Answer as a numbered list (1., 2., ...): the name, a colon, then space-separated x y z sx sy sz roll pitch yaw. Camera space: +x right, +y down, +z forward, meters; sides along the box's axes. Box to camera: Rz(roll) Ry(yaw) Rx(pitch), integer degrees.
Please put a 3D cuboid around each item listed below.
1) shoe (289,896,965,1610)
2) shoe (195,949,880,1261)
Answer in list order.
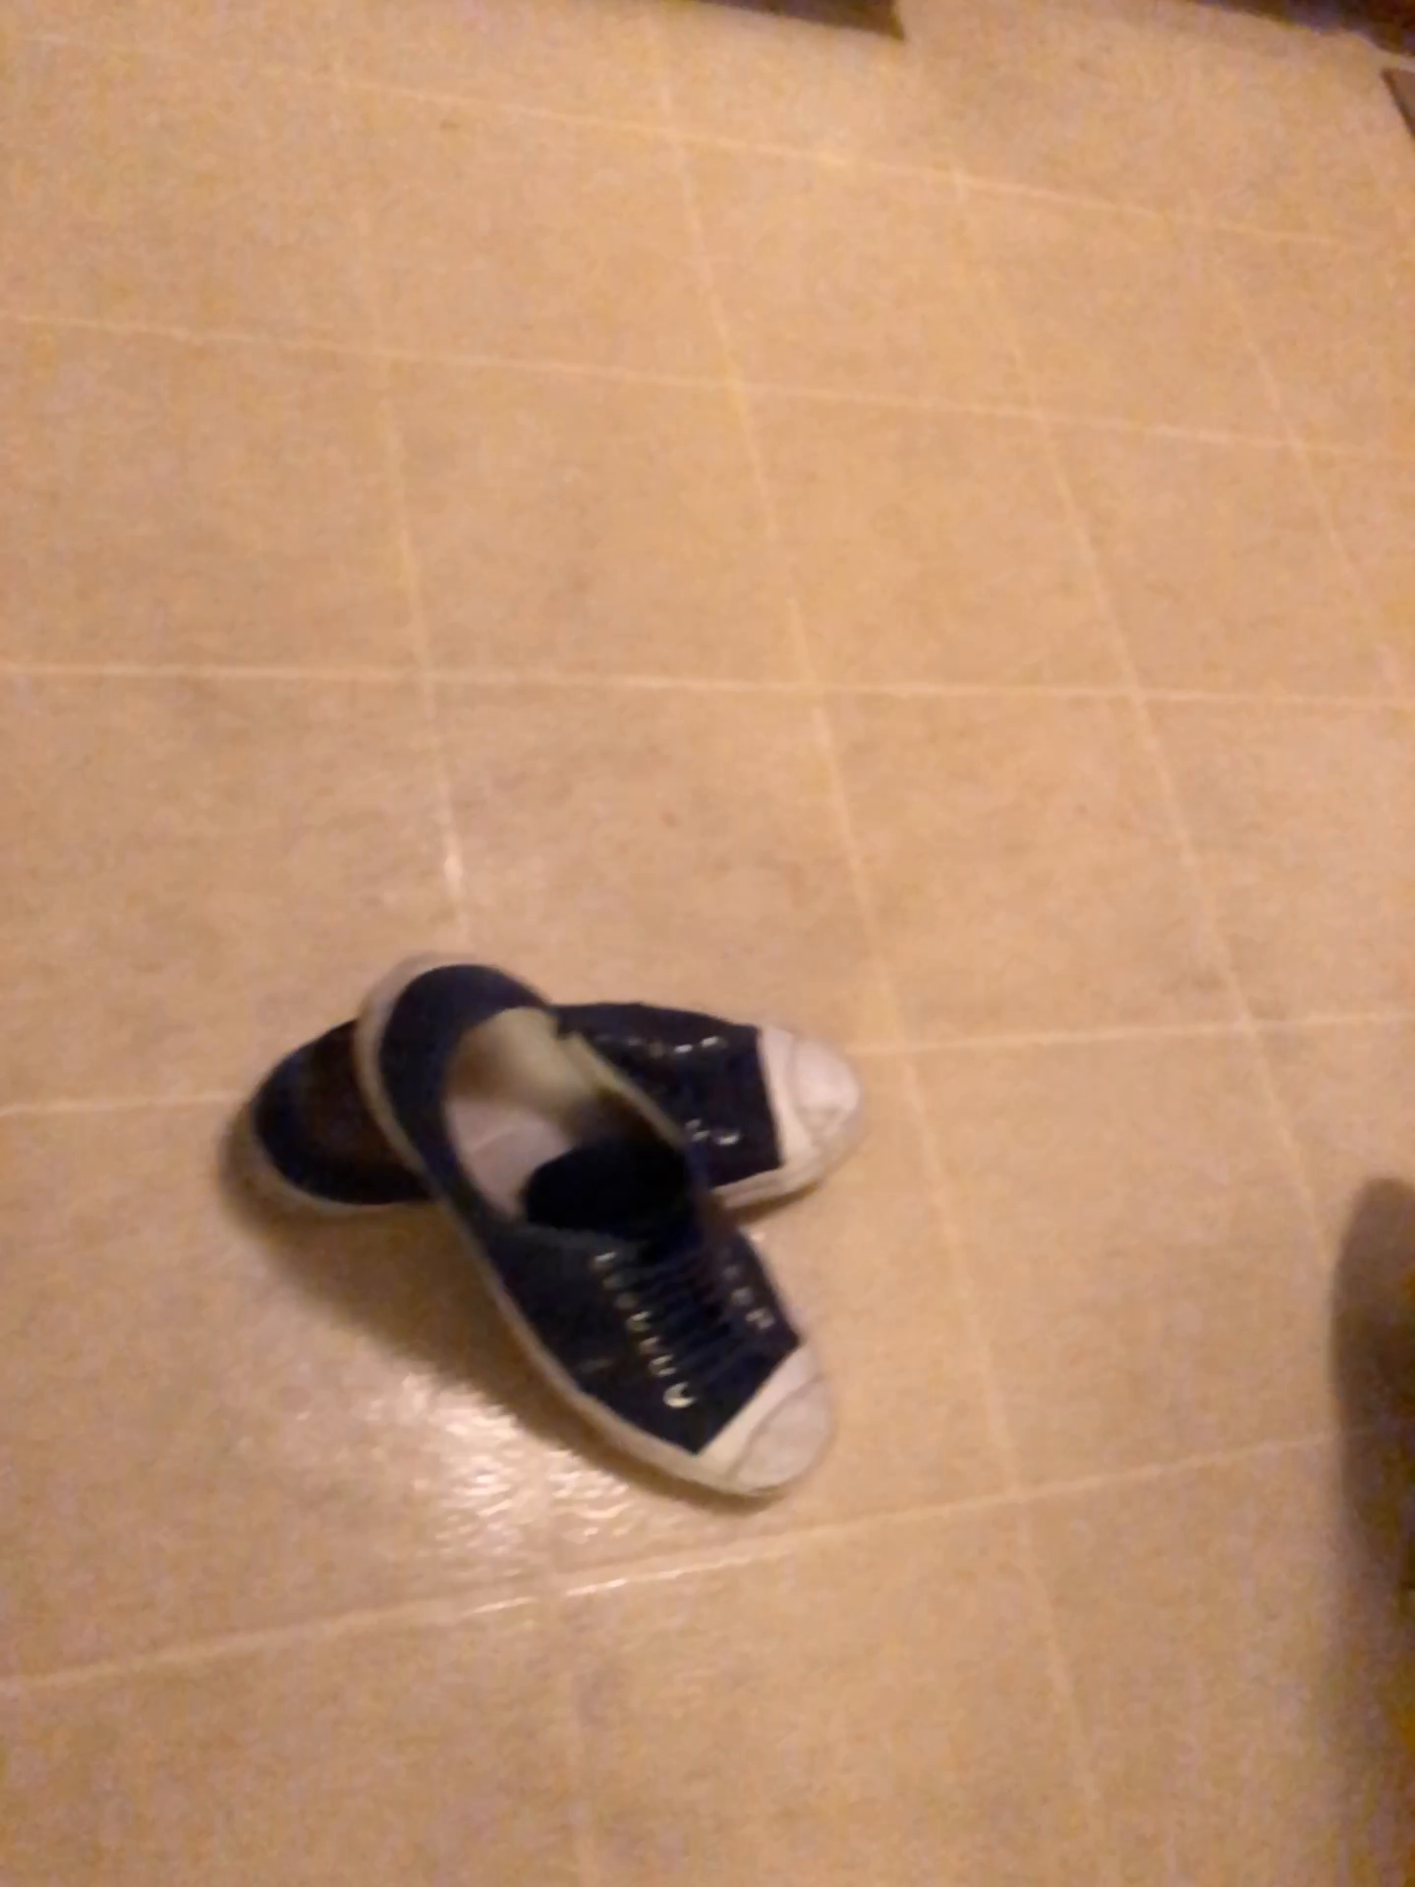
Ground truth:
1. shoe: -0.031 0.126 0.653 0.100 0.100 0.290 -43 109 -14
2. shoe: -0.073 0.068 0.719 0.290 0.080 0.110 0 69 -29
